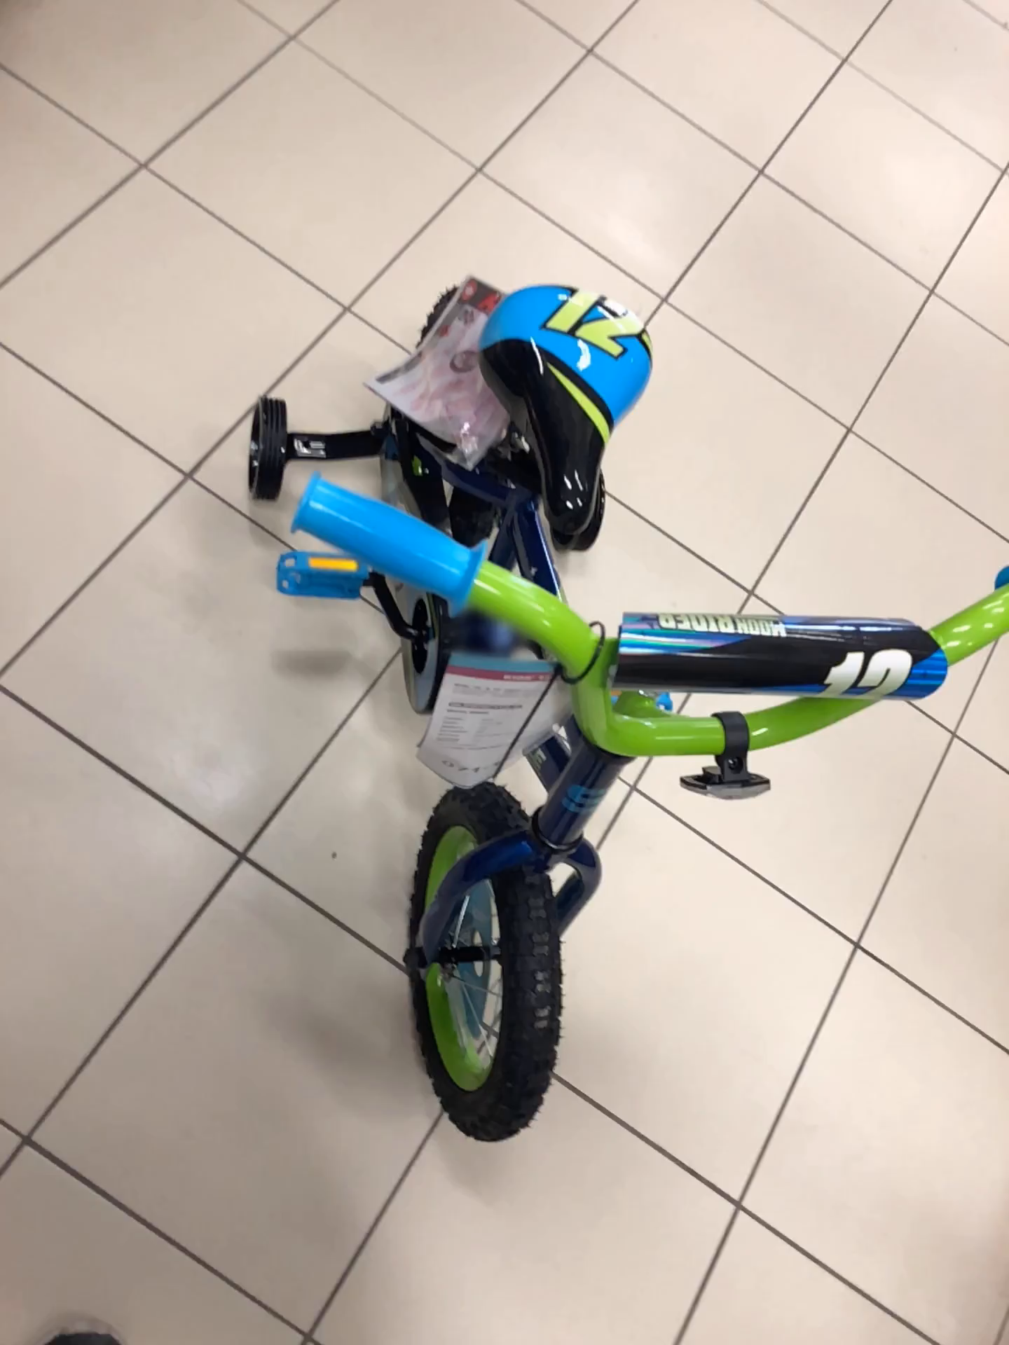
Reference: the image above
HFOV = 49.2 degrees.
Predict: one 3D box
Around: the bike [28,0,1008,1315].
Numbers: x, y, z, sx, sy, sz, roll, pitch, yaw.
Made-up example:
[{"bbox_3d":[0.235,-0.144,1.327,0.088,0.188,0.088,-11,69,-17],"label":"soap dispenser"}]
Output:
[{"bbox_3d":[0.017,-0.066,0.854,0.548,0.677,0.795,1,70,-14],"label":"bike"}]
